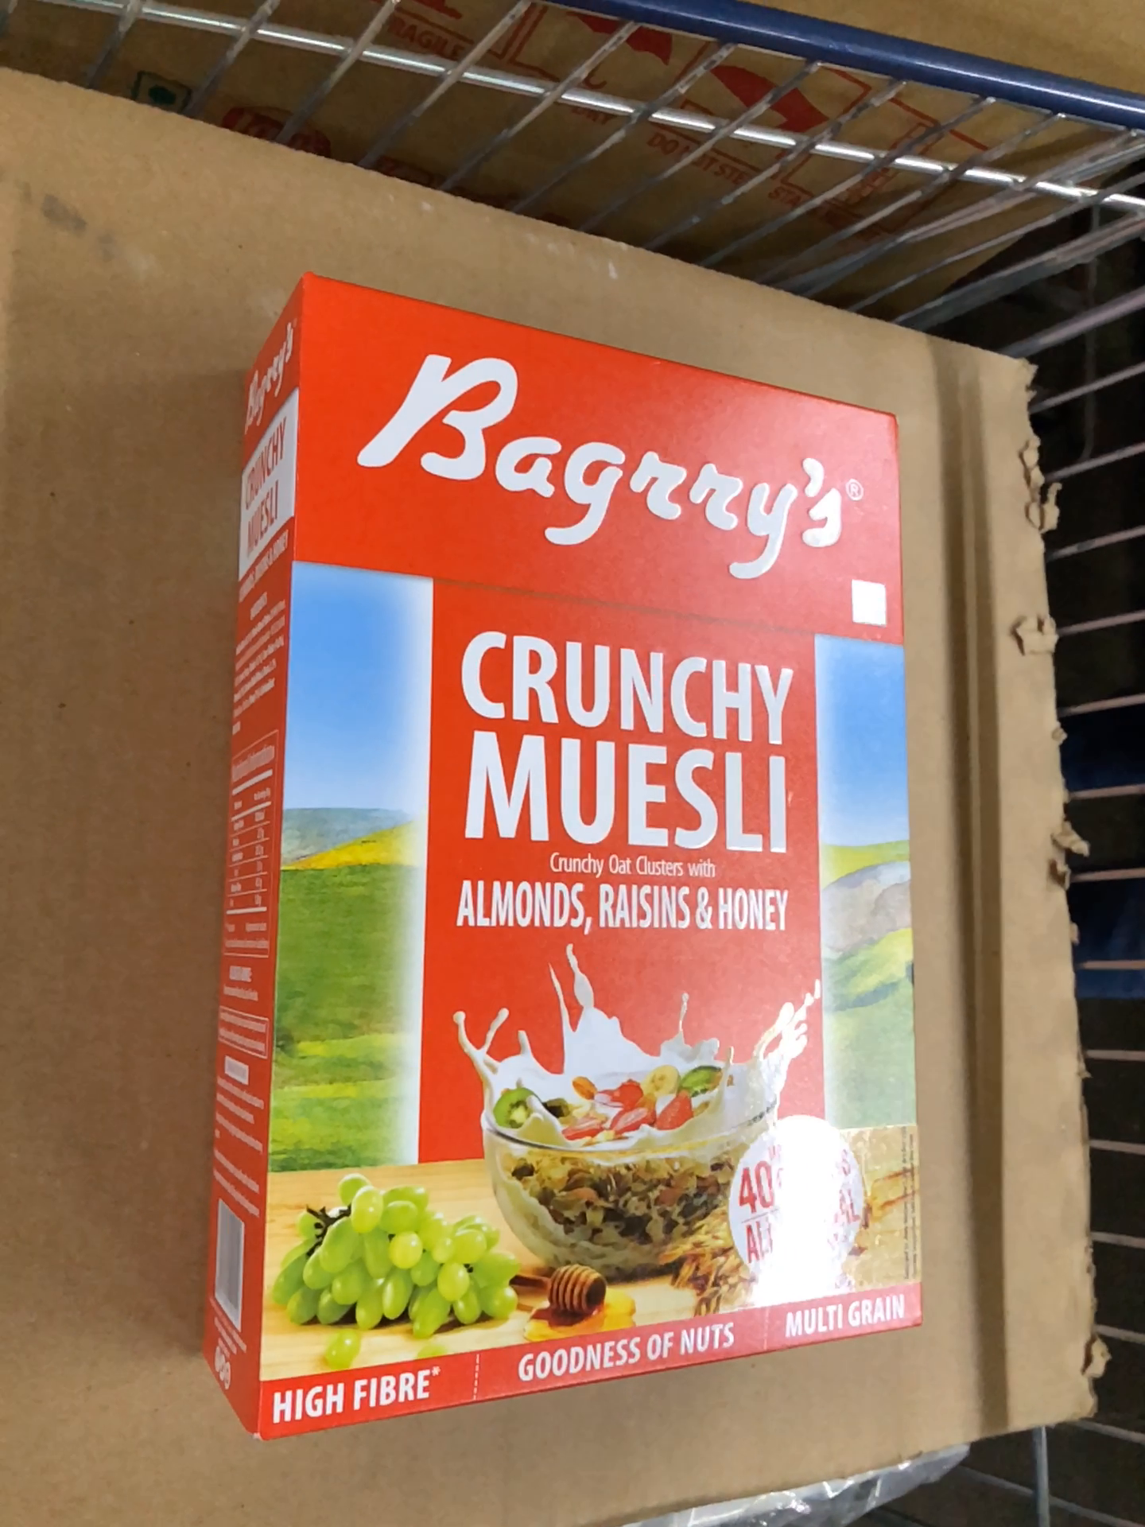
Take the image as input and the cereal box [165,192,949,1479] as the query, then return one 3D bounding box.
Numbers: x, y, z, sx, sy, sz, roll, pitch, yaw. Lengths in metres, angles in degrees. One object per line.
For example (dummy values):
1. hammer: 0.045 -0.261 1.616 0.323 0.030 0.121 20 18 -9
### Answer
1. cereal box: 0.000 0.016 0.327 0.180 0.070 0.260 4 83 -25
